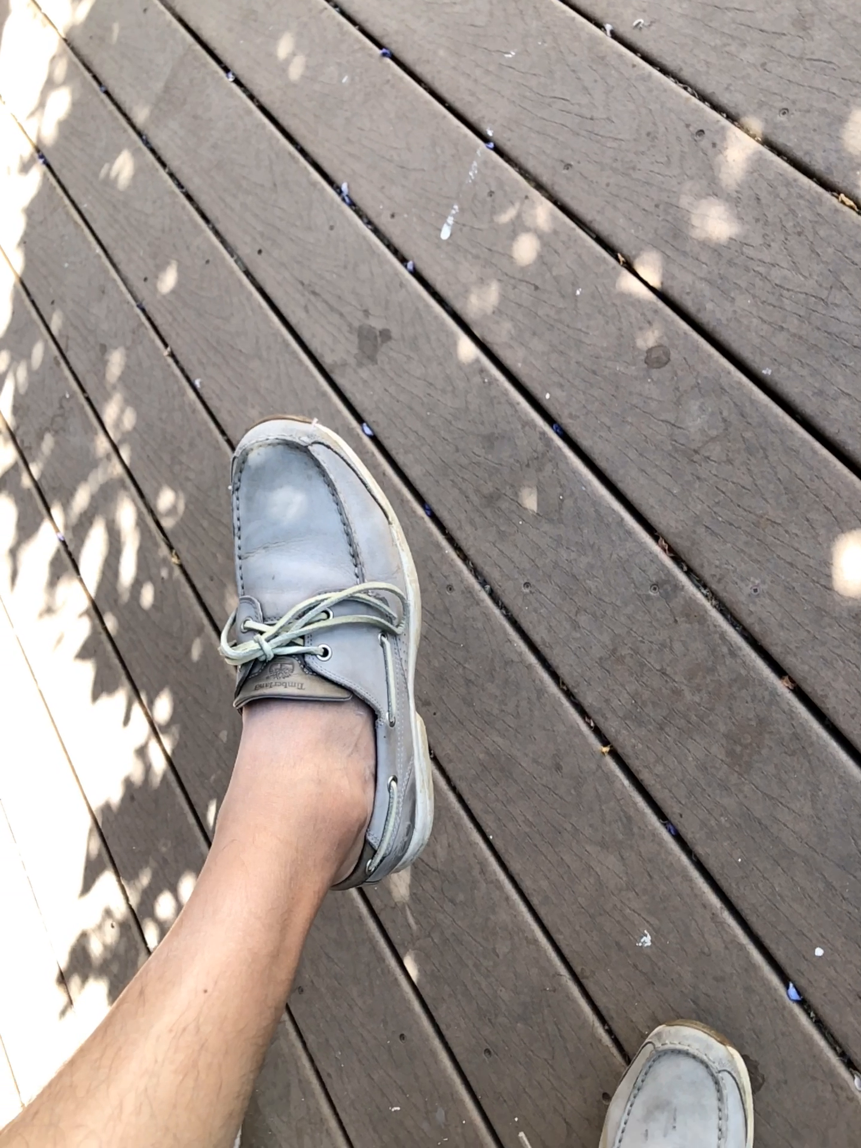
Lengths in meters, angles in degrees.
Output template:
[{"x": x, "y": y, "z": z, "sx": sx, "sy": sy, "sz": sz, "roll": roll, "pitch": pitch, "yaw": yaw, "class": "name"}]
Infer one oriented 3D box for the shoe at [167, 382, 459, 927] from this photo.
[{"x": -0.074, "y": 0.049, "z": 0.596, "sx": 0.115, "sy": 0.085, "sz": 0.306, "roll": -10, "pitch": 87, "yaw": 33, "class": "shoe"}]
